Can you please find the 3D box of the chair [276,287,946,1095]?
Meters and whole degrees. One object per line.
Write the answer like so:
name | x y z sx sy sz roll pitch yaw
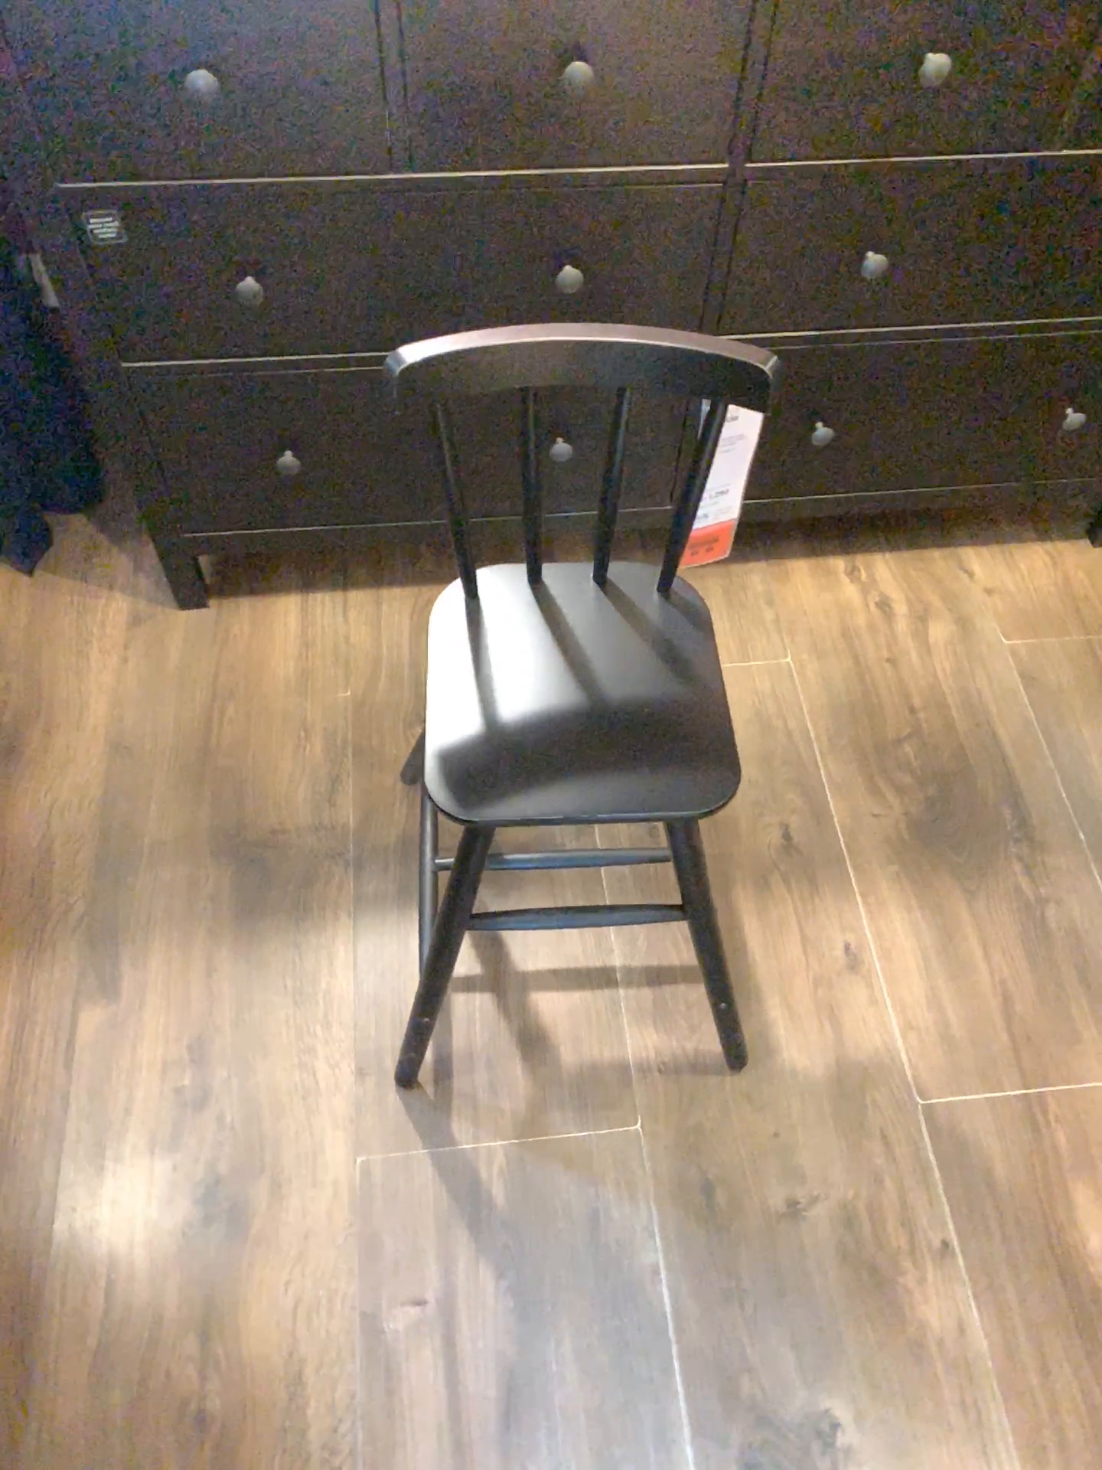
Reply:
chair | 0.014 0.030 1.231 0.450 0.848 0.471 -2 58 -4
